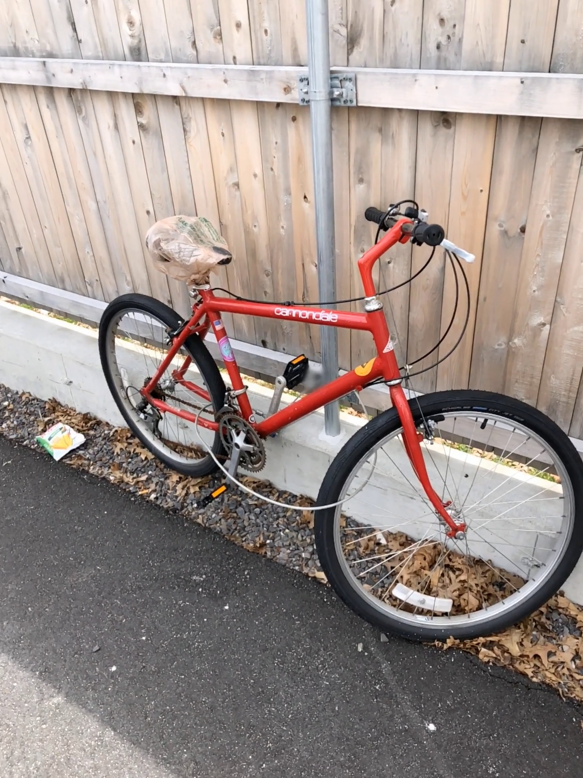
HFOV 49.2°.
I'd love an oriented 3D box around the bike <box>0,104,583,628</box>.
[{"bbox_3d":[-0.010,-0.152,1.746,1.475,1.001,0.595,15,37,32],"label":"bike"}]
